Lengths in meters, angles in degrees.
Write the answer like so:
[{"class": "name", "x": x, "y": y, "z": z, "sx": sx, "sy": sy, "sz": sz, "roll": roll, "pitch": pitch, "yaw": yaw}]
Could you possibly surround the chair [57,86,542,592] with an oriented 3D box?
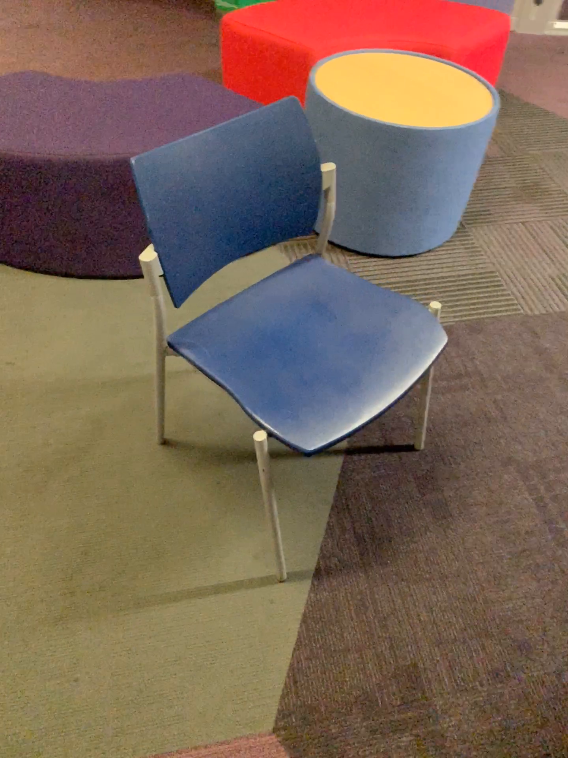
[{"class": "chair", "x": 0.017, "y": -0.087, "z": 1.216, "sx": 0.563, "sy": 0.694, "sz": 0.573, "roll": -35, "pitch": 58, "yaw": -28}]
